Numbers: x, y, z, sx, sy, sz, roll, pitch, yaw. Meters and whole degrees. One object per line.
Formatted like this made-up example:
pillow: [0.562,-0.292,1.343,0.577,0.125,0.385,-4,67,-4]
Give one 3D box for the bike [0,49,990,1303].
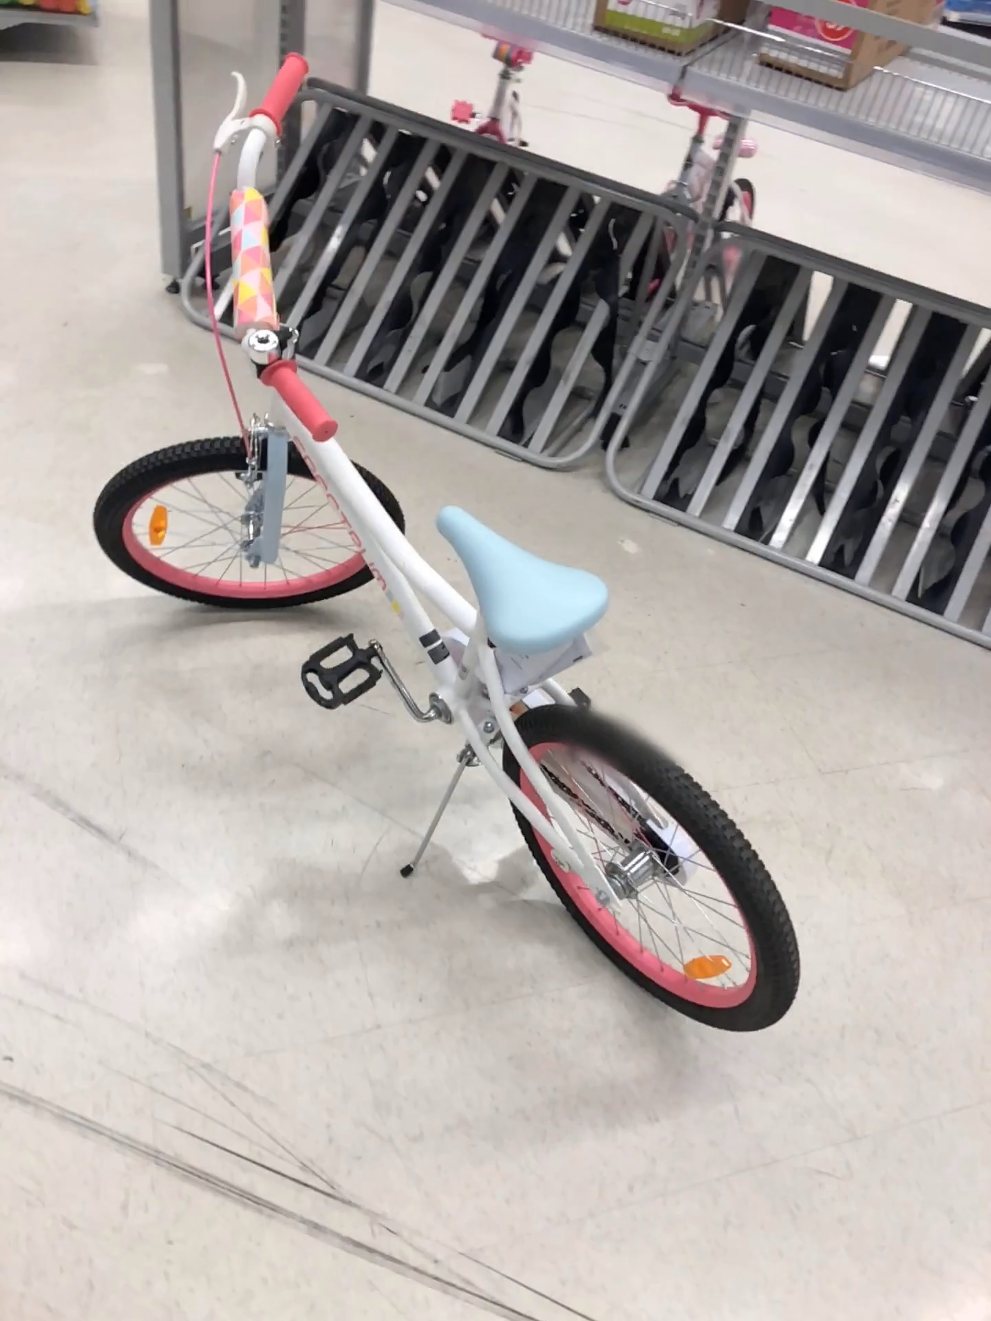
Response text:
bike: [-0.121,-0.043,1.363,1.253,0.961,0.634,33,46,23]
